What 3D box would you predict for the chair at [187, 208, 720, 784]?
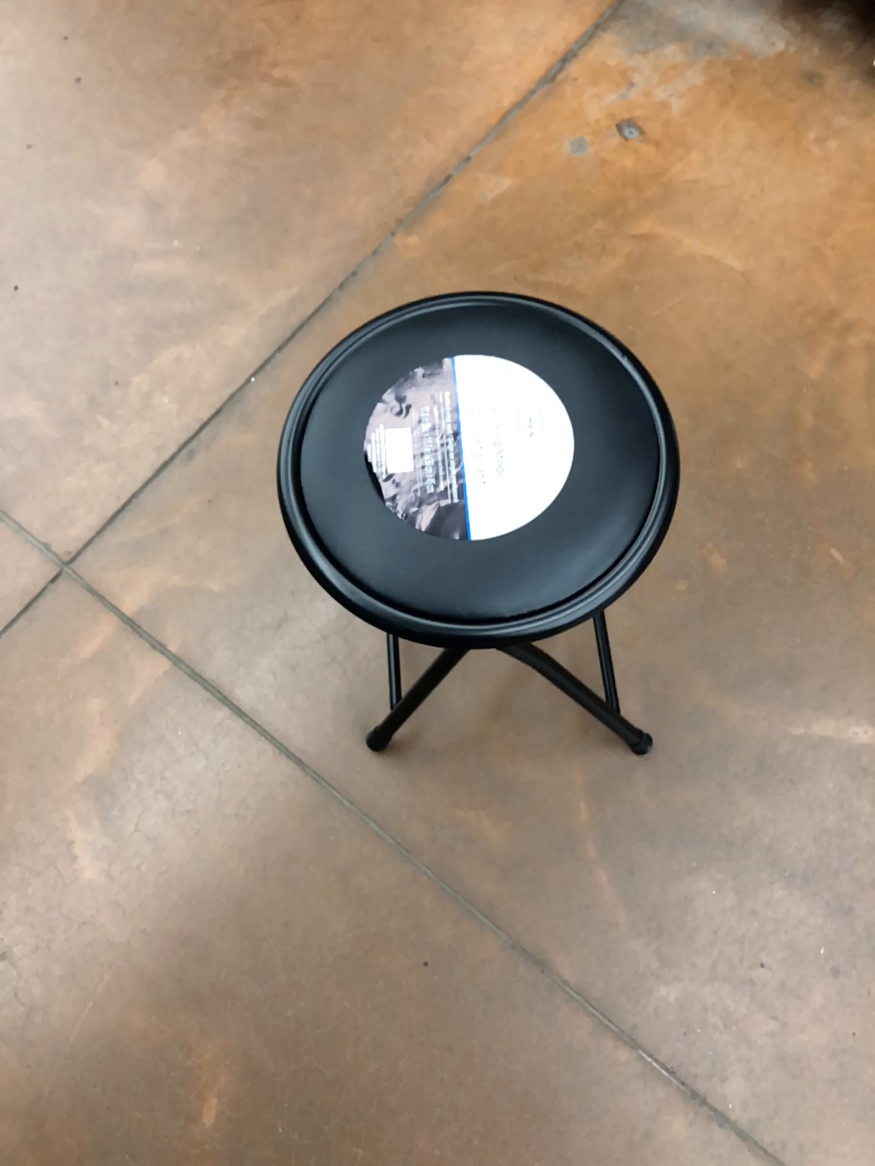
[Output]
[{"bbox_3d":[0.007,-0.037,0.842,0.330,0.400,0.320,-6,68,1],"label":"chair"}]
